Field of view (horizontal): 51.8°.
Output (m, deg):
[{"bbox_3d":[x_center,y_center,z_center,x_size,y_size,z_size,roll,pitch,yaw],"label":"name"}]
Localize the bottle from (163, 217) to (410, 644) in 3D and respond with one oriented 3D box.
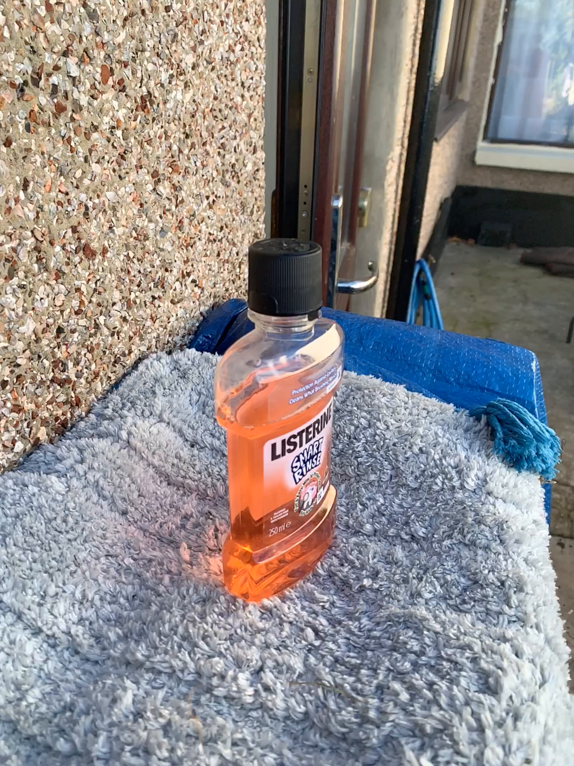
[{"bbox_3d":[0.001,0.019,0.263,0.050,0.158,0.091,21,34,30],"label":"bottle"}]
